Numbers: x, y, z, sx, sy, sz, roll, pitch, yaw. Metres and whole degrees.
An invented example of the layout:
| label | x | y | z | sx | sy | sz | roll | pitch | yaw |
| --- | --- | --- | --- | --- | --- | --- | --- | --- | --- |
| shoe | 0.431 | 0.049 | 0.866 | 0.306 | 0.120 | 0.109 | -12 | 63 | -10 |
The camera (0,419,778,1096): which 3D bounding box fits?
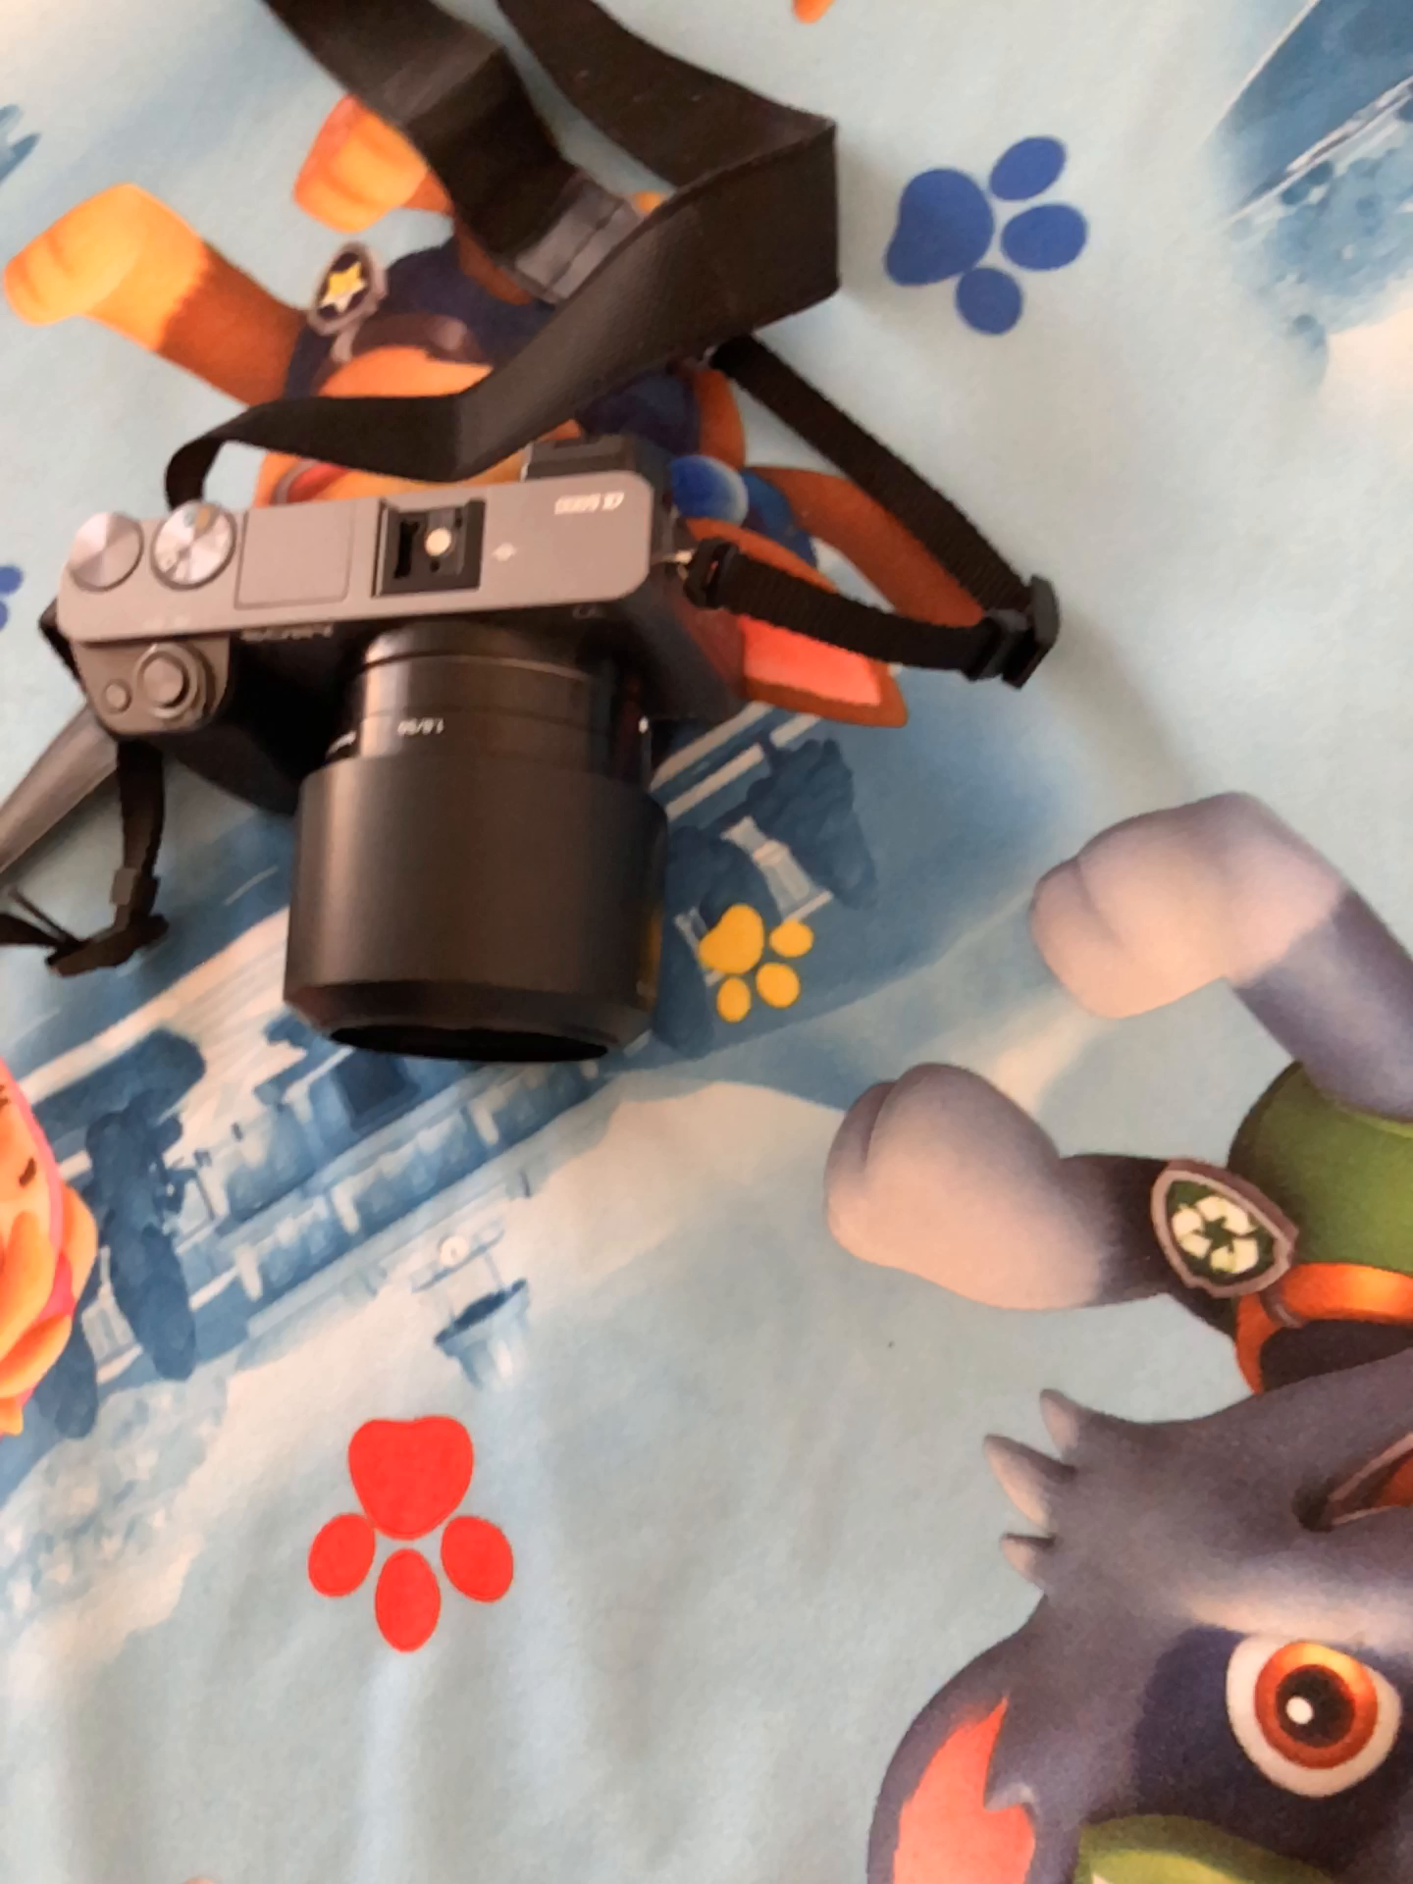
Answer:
| label | x | y | z | sx | sy | sz | roll | pitch | yaw |
| --- | --- | --- | --- | --- | --- | --- | --- | --- | --- |
| camera | -0.061 | -0.029 | 0.325 | 0.130 | 0.080 | 0.110 | -1 | 76 | 17 |
